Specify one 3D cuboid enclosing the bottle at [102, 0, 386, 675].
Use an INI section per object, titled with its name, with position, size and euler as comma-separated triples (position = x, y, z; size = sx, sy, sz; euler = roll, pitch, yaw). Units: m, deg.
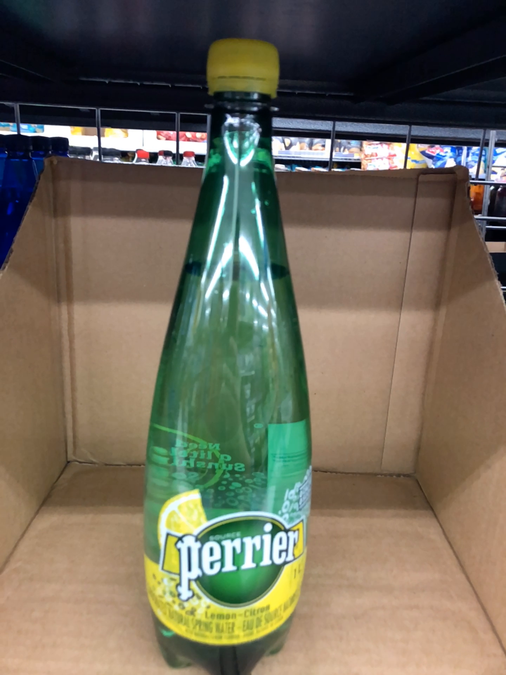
[bottle]
position = -0.014, 0.022, 0.278
size = 0.100, 0.318, 0.080
euler = 0, 17, -8
